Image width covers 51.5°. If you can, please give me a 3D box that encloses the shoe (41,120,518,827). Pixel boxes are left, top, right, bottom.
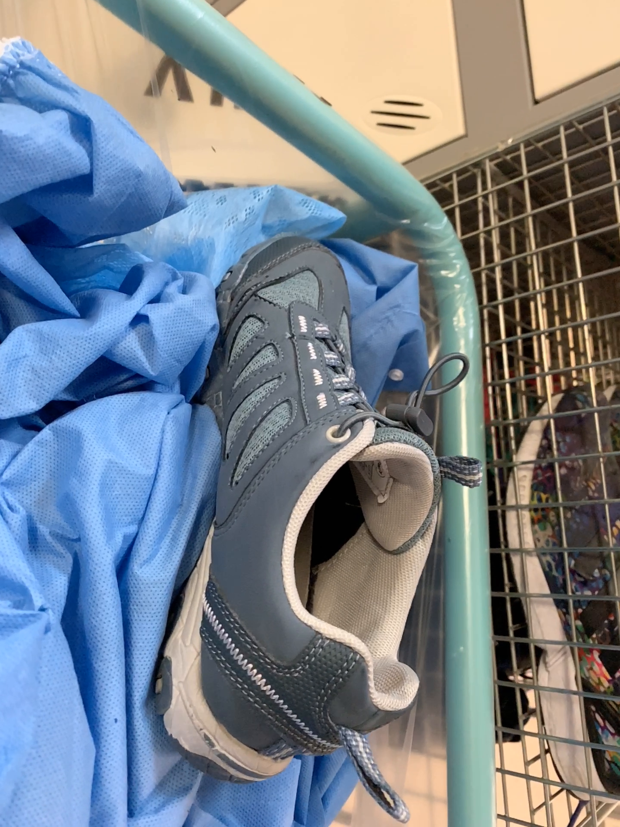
[{"bbox_3d":[0.005,0.020,0.269,0.102,0.109,0.241,36,56,-39],"label":"shoe"}]
